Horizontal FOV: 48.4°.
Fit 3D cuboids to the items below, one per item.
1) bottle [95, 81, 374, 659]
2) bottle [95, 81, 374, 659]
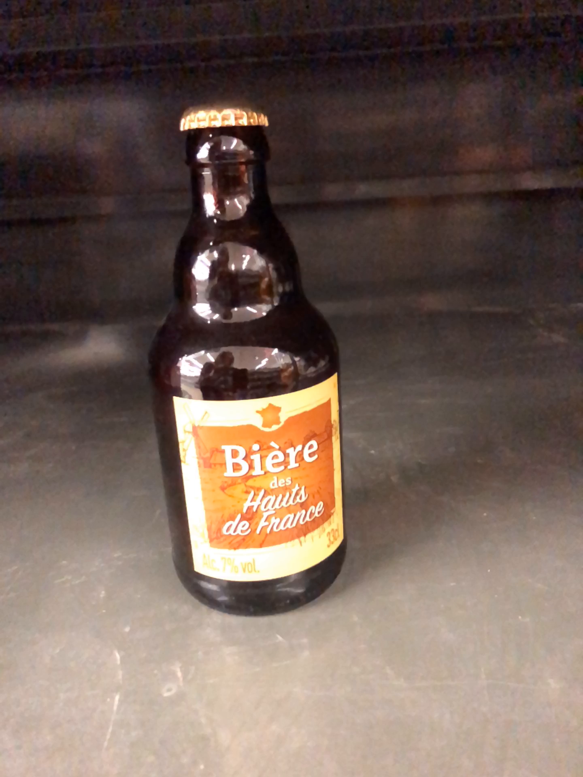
[{"bbox_3d":[-0.017,-0.007,0.235,0.070,0.179,0.070,-4,18,1],"label":"bottle"},{"bbox_3d":[-0.017,-0.007,0.235,0.070,0.179,0.070,-4,18,1],"label":"bottle"}]
